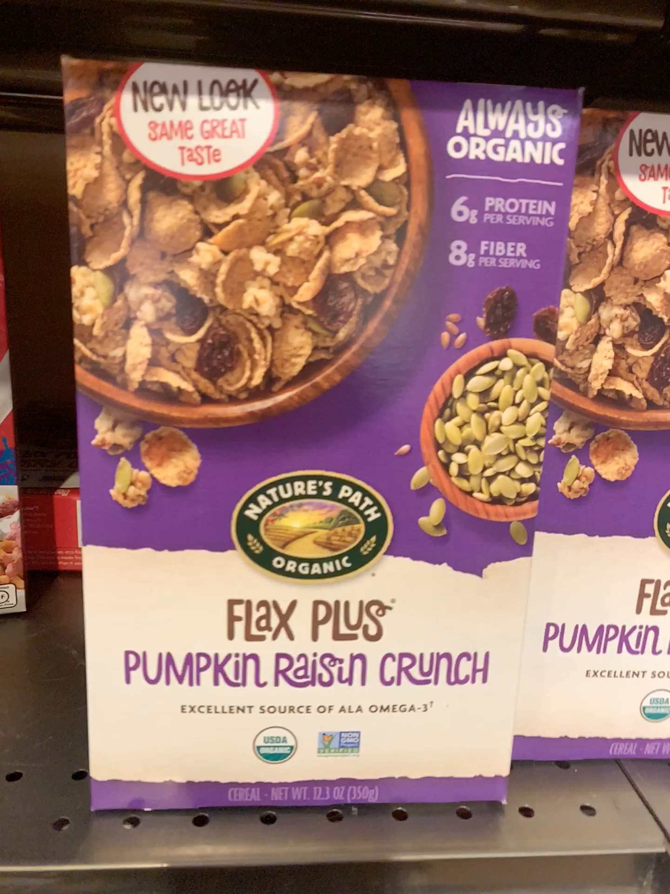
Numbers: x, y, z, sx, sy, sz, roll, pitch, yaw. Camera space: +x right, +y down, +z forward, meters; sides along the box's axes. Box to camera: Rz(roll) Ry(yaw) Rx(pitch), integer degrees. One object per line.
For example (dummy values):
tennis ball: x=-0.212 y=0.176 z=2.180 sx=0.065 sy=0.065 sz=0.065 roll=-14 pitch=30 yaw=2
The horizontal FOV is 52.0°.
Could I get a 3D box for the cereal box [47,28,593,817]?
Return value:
cereal box: x=-0.010 y=0.003 z=0.263 sx=0.170 sy=0.269 sz=0.050 roll=2 pitch=11 yaw=-4
